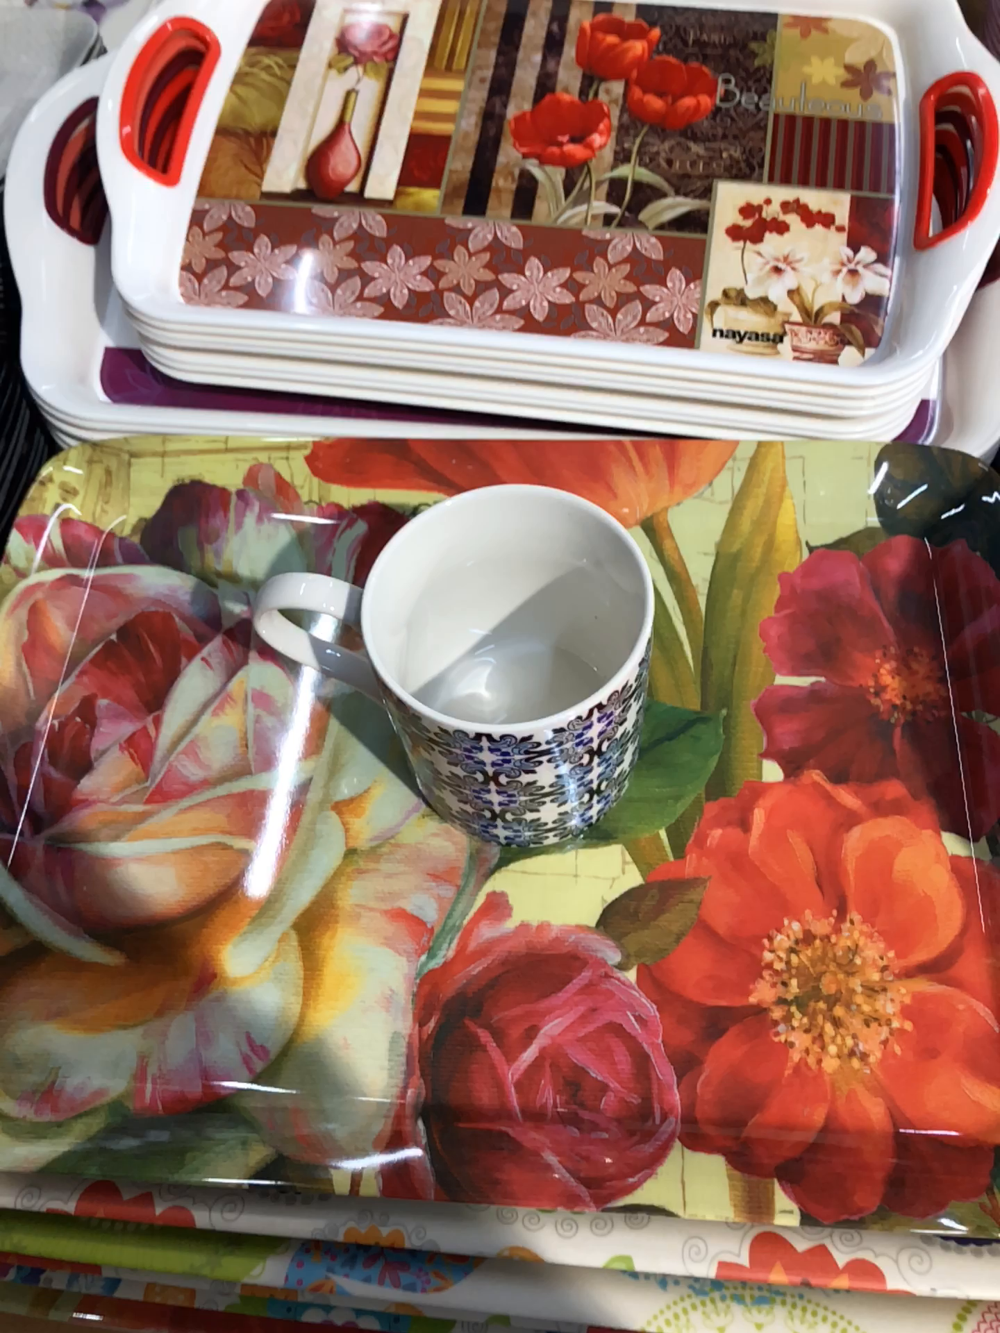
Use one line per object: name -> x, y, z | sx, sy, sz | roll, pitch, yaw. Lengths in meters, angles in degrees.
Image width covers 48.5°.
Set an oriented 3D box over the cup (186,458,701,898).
cup -> -0.009, 0.006, 0.344 | 0.130, 0.100, 0.090 | 4, 59, 4
